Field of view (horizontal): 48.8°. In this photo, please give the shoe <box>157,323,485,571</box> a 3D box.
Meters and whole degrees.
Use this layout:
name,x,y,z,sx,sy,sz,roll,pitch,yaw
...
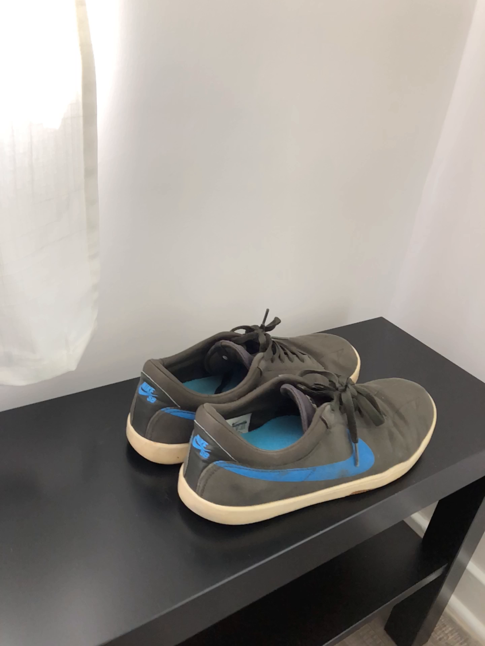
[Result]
name,x,y,z,sx,sy,sz,roll,pitch,yaw
shoe,0.076,0.094,0.484,0.280,0.110,0.100,-10,34,-31

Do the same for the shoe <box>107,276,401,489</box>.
name,x,y,z,sx,sy,sz,roll,pitch,yaw
shoe,0.017,0.043,0.539,0.280,0.110,0.100,-14,36,-34
